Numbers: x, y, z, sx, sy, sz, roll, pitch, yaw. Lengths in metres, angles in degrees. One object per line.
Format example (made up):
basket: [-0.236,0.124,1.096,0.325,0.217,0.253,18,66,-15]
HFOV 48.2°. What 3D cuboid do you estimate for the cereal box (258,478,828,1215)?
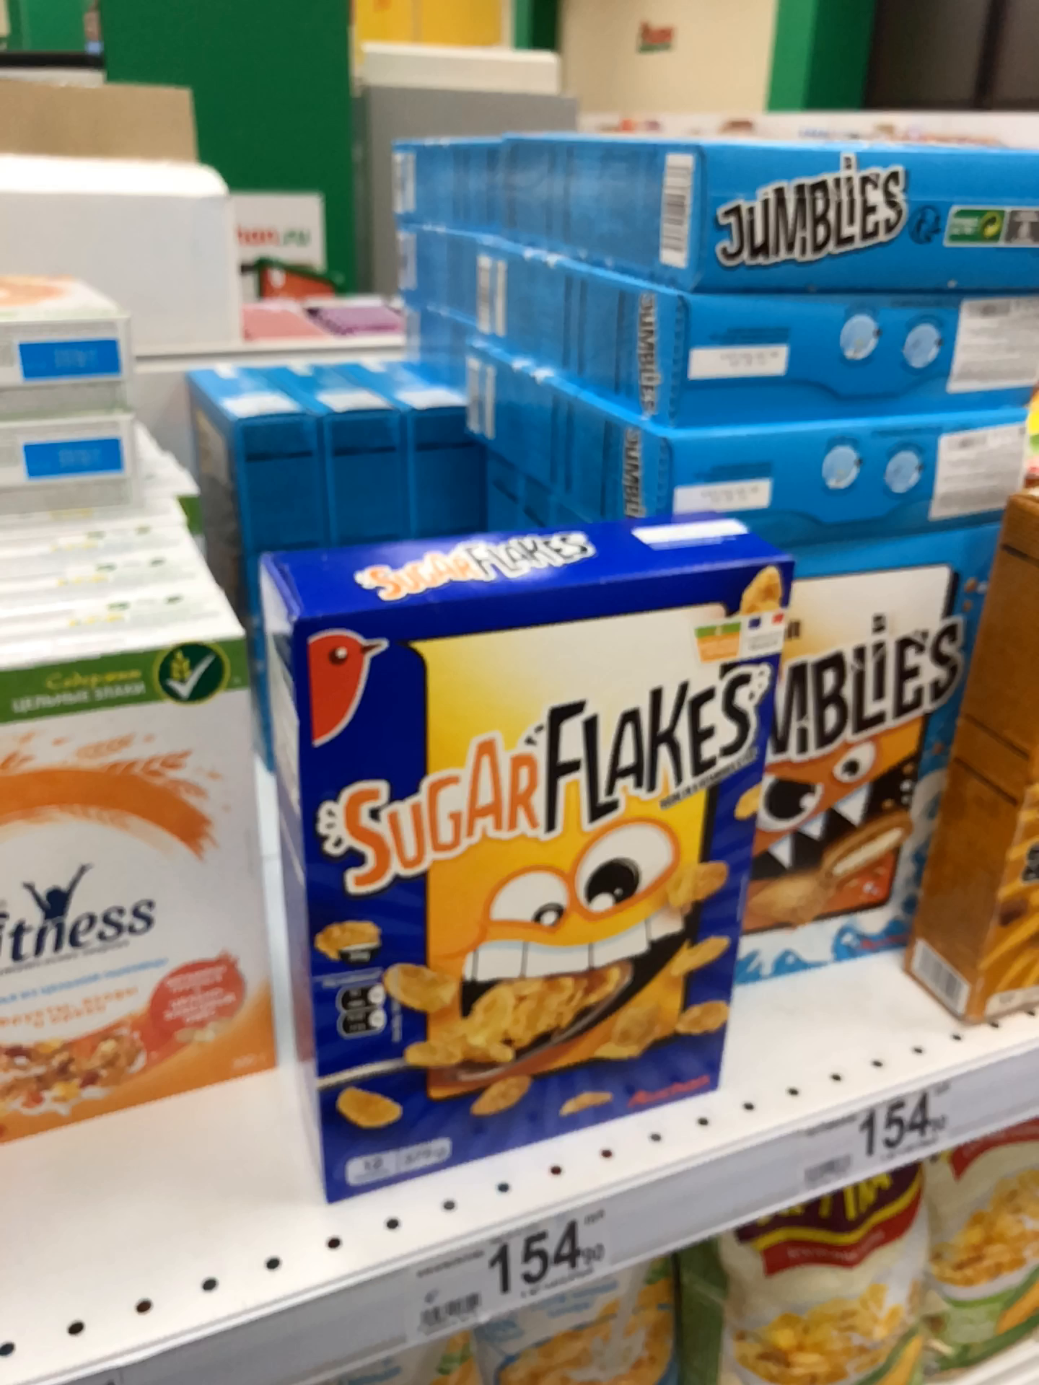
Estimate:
cereal box: [0.006,0.063,0.490,0.200,0.278,0.070,-9,27,-21]
